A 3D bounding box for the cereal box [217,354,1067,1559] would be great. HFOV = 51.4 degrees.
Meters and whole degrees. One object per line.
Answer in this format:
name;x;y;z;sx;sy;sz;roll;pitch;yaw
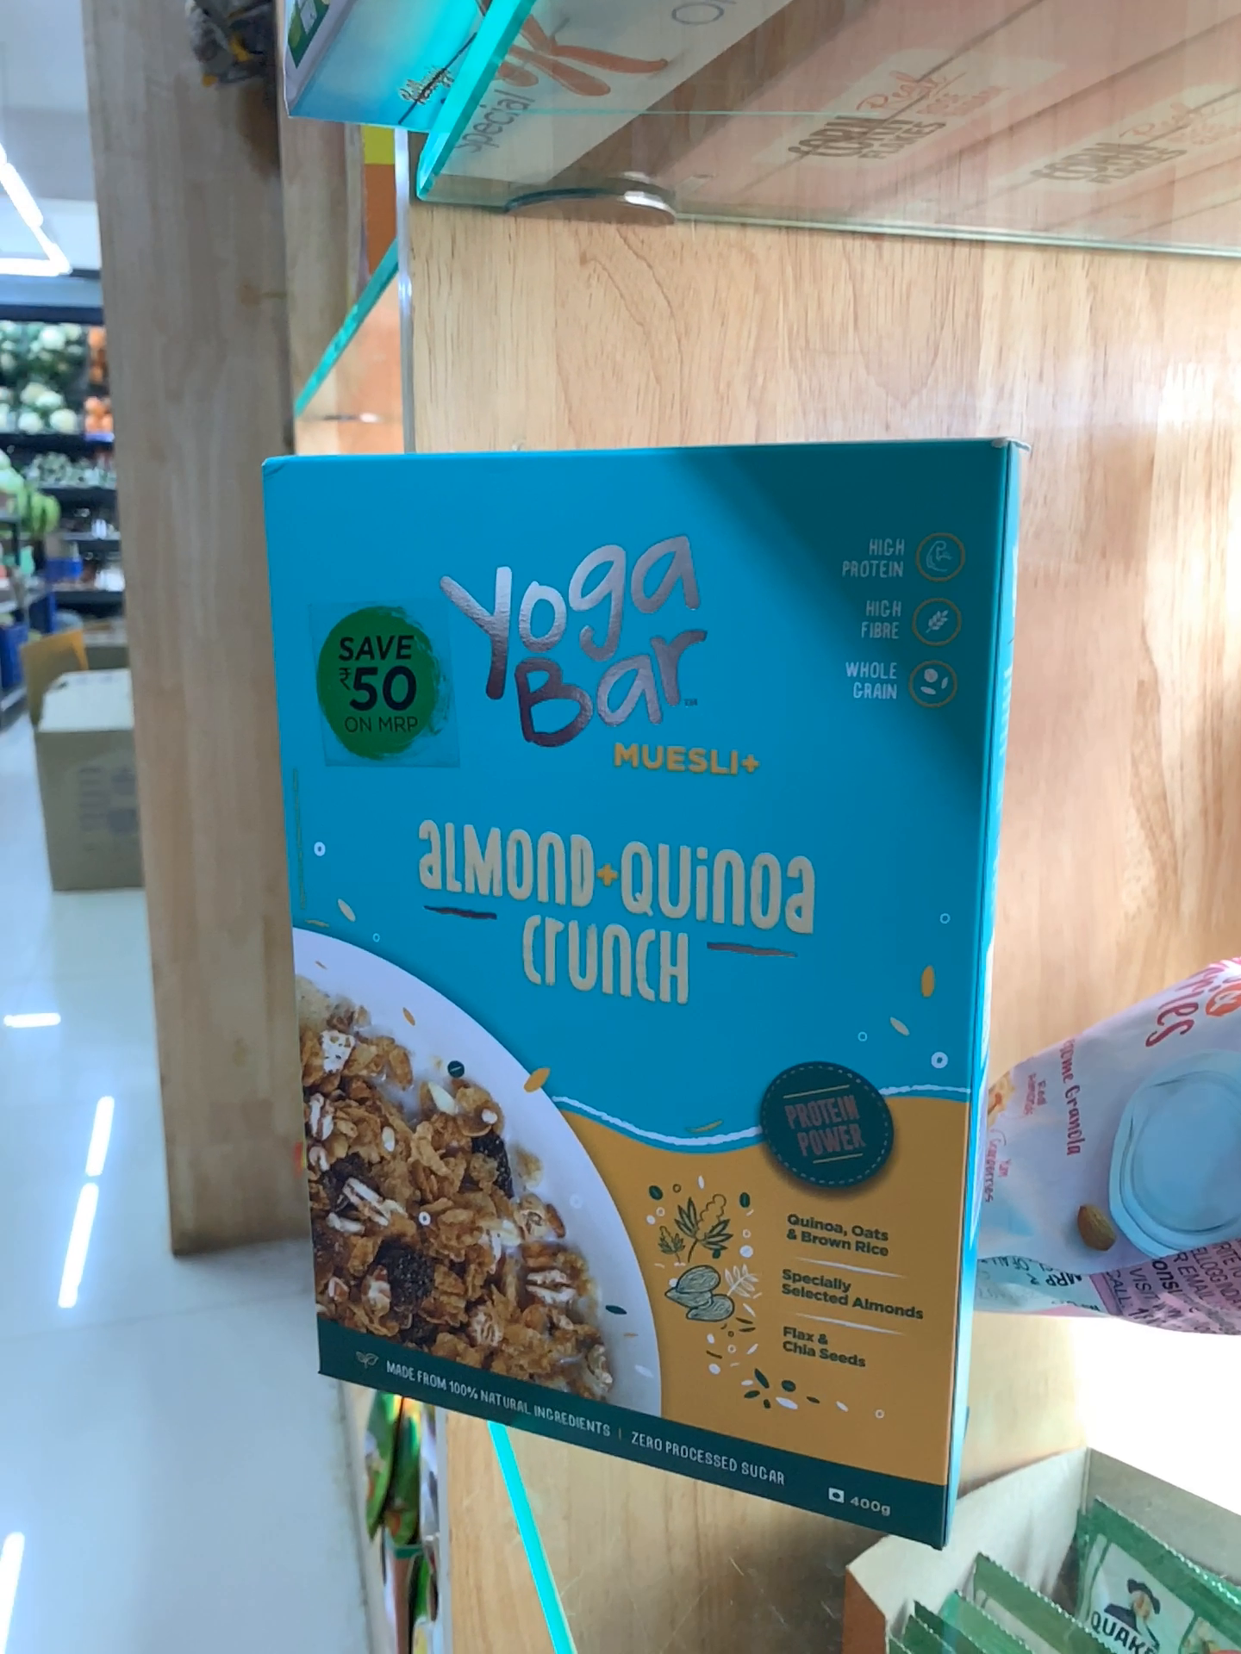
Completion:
cereal box;0.003;0.020;0.281;0.160;0.219;0.060;5;12;21
